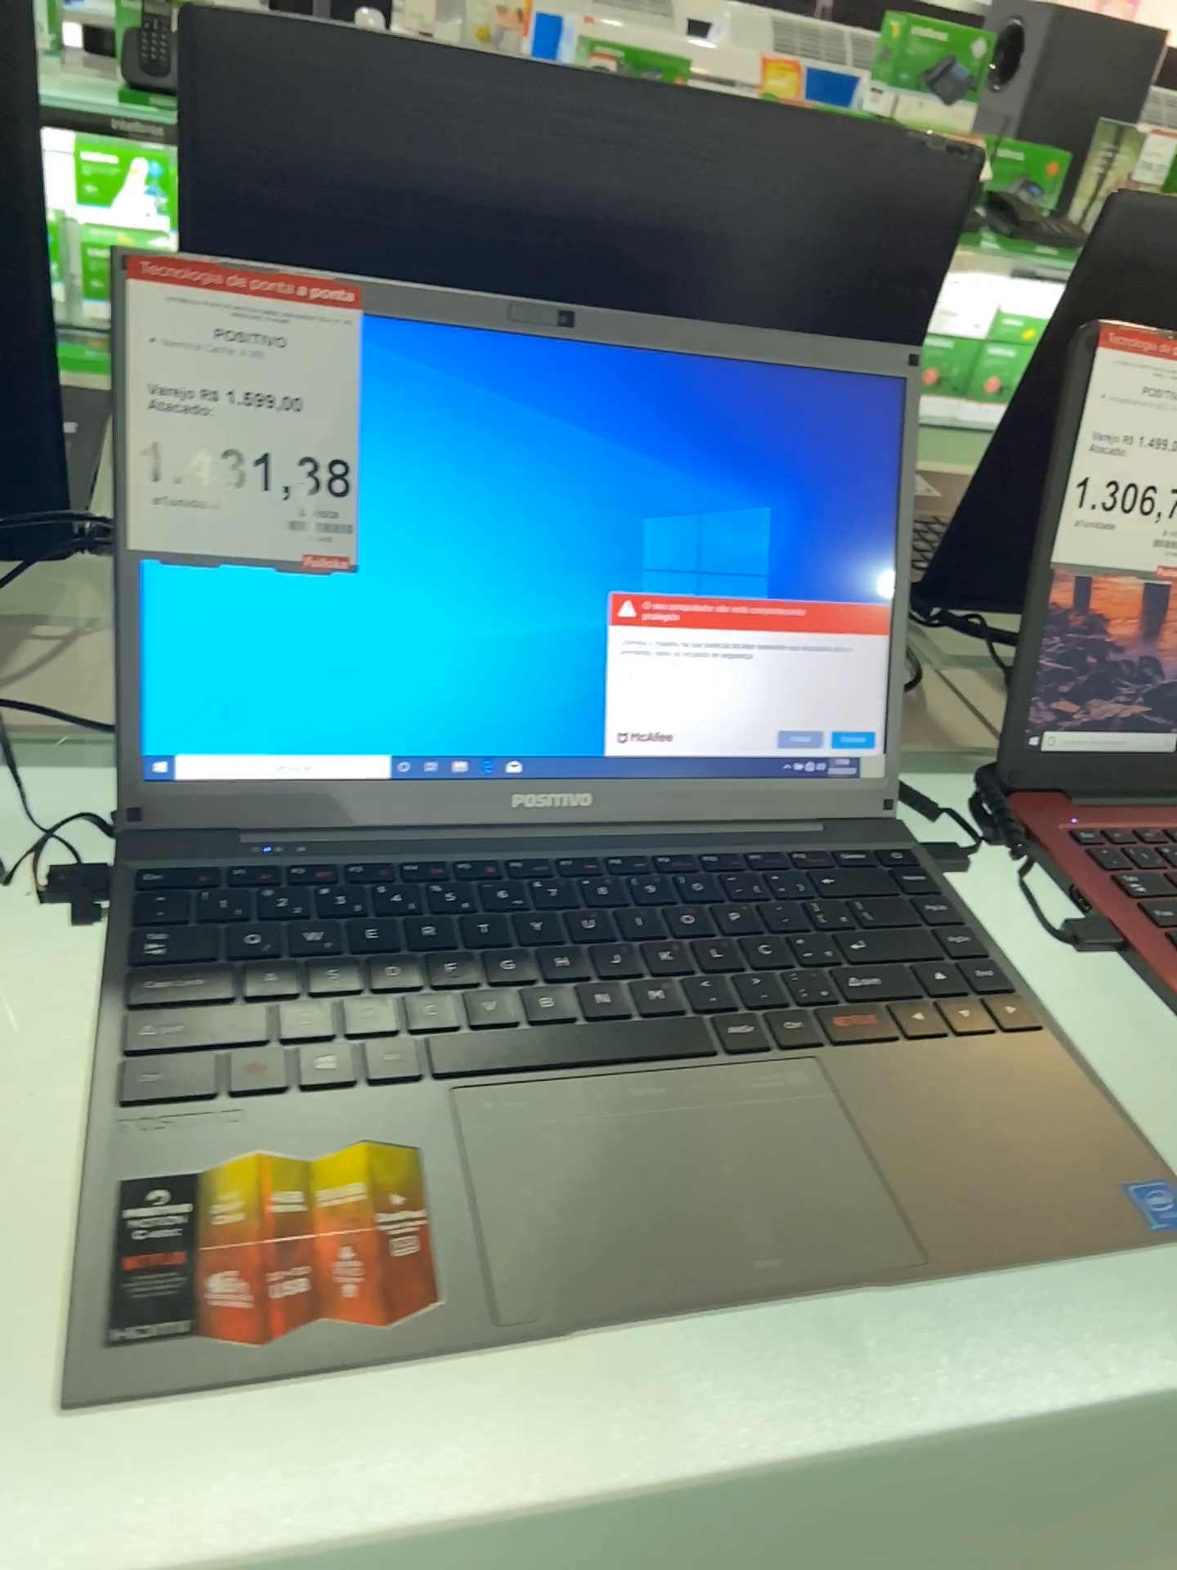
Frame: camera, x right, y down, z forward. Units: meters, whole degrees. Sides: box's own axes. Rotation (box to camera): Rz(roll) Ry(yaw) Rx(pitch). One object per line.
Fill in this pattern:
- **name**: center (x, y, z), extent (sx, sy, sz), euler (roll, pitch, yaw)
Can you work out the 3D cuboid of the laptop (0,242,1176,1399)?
- **laptop**: center (0.012, -0.025, 0.407), extent (0.330, 0.183, 0.320), euler (0, 34, -18)
